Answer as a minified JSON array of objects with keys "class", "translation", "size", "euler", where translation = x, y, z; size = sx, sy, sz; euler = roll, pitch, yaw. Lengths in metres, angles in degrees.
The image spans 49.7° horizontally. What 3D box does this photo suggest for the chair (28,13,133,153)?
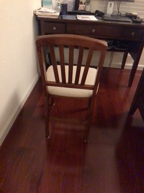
[{"class":"chair","translation":[0.040,-0.138,1.331],"size":[0.530,0.893,0.726],"euler":[6,35,2]}]
